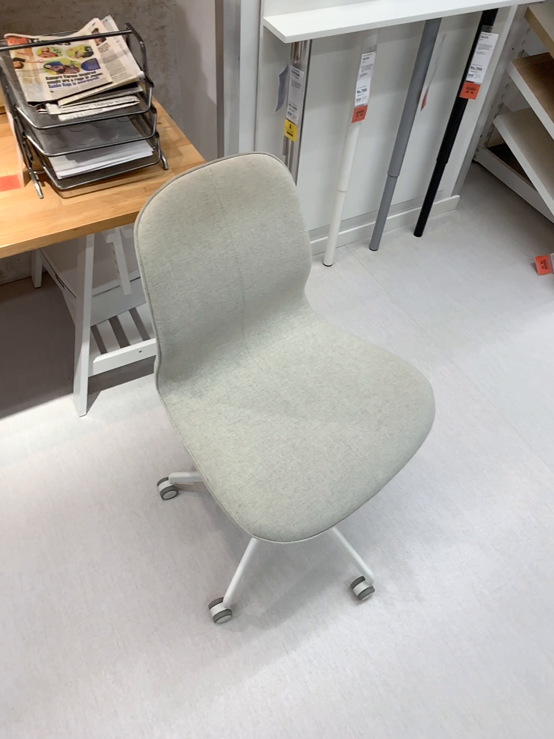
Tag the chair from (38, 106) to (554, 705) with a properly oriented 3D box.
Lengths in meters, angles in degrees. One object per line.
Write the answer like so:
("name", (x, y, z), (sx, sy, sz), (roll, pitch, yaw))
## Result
("chair", (0.066, 0.100, 1.170), (0.661, 0.867, 0.661), (-27, 58, -24))
